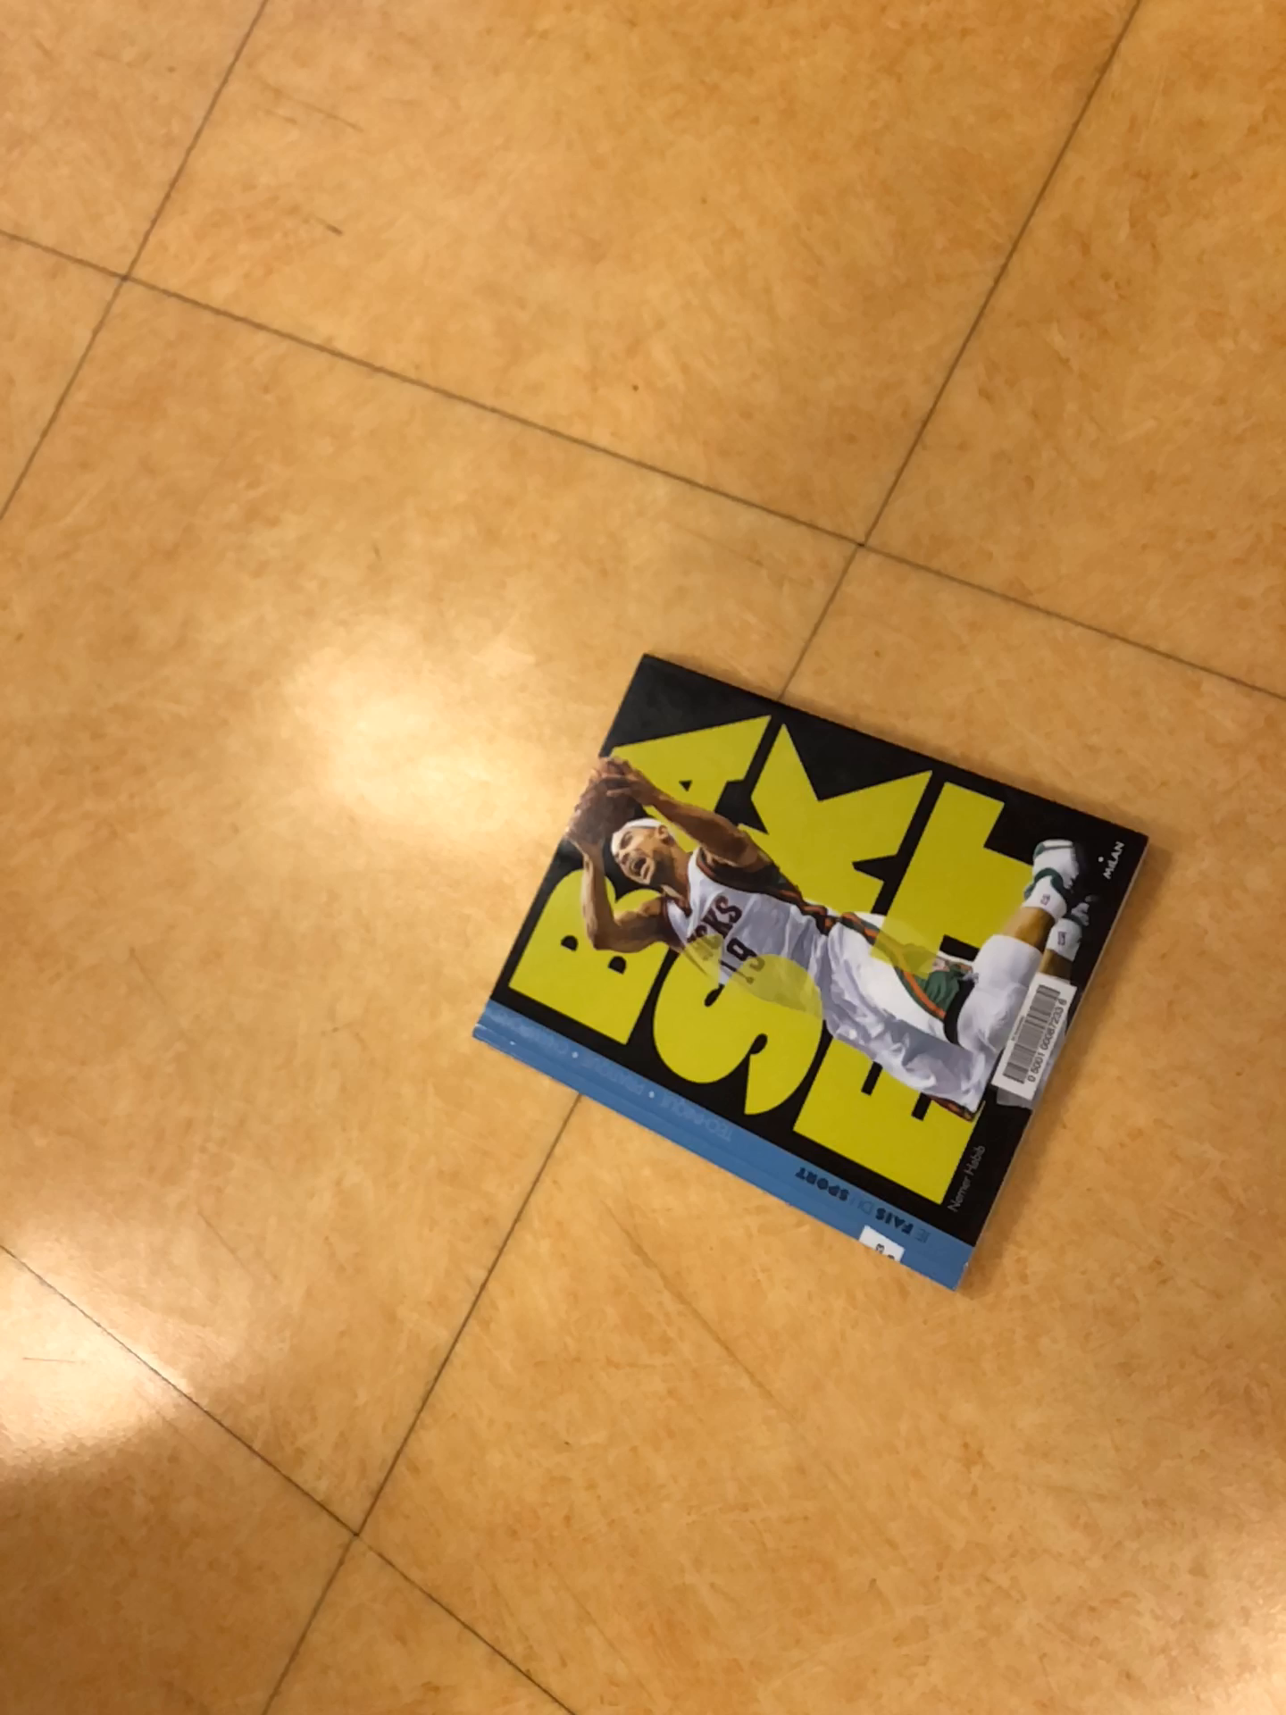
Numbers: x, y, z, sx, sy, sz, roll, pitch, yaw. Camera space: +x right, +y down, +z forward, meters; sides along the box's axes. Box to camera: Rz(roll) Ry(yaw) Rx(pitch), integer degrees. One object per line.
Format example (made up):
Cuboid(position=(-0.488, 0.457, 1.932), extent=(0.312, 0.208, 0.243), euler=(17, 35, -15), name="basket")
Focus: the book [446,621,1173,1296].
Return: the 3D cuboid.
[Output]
Cuboid(position=(0.060, 0.030, 0.589), extent=(0.244, 0.020, 0.200), euler=(22, 87, 24), name="book")
